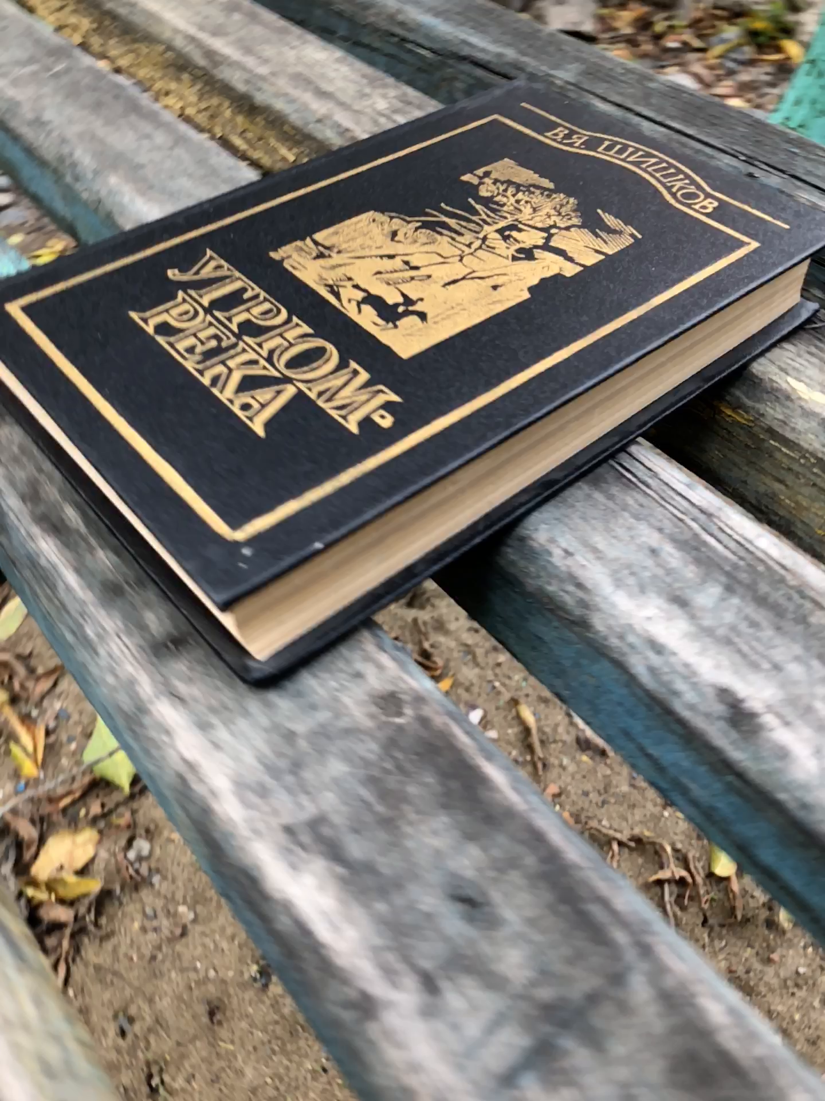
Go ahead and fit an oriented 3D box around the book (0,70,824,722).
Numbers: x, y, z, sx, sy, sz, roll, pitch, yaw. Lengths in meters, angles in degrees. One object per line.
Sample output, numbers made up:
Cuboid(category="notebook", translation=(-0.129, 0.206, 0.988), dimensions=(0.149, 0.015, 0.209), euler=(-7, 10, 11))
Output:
Cuboid(category="book", translation=(0.001, -0.066, 0.253), dimensions=(0.210, 0.030, 0.138), euler=(-32, 57, -25))
